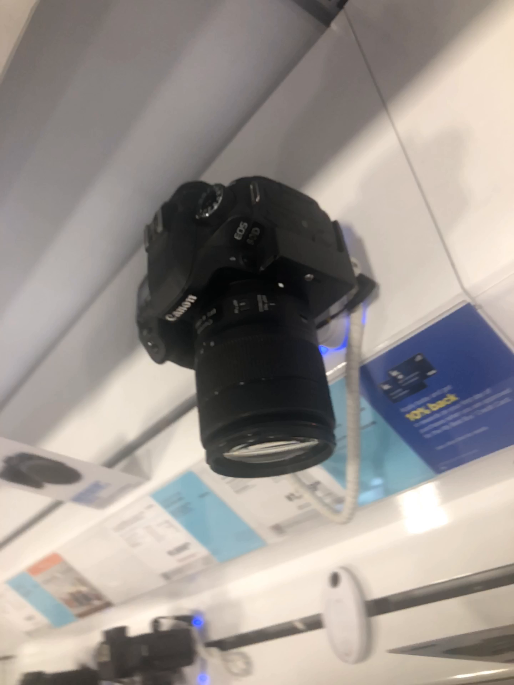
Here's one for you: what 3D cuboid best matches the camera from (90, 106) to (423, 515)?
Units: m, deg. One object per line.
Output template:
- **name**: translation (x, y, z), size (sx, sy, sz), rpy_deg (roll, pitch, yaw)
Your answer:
- **camera**: translation (-0.018, -0.007, 0.355), size (0.151, 0.109, 0.180), rpy_deg (-38, 50, 39)
